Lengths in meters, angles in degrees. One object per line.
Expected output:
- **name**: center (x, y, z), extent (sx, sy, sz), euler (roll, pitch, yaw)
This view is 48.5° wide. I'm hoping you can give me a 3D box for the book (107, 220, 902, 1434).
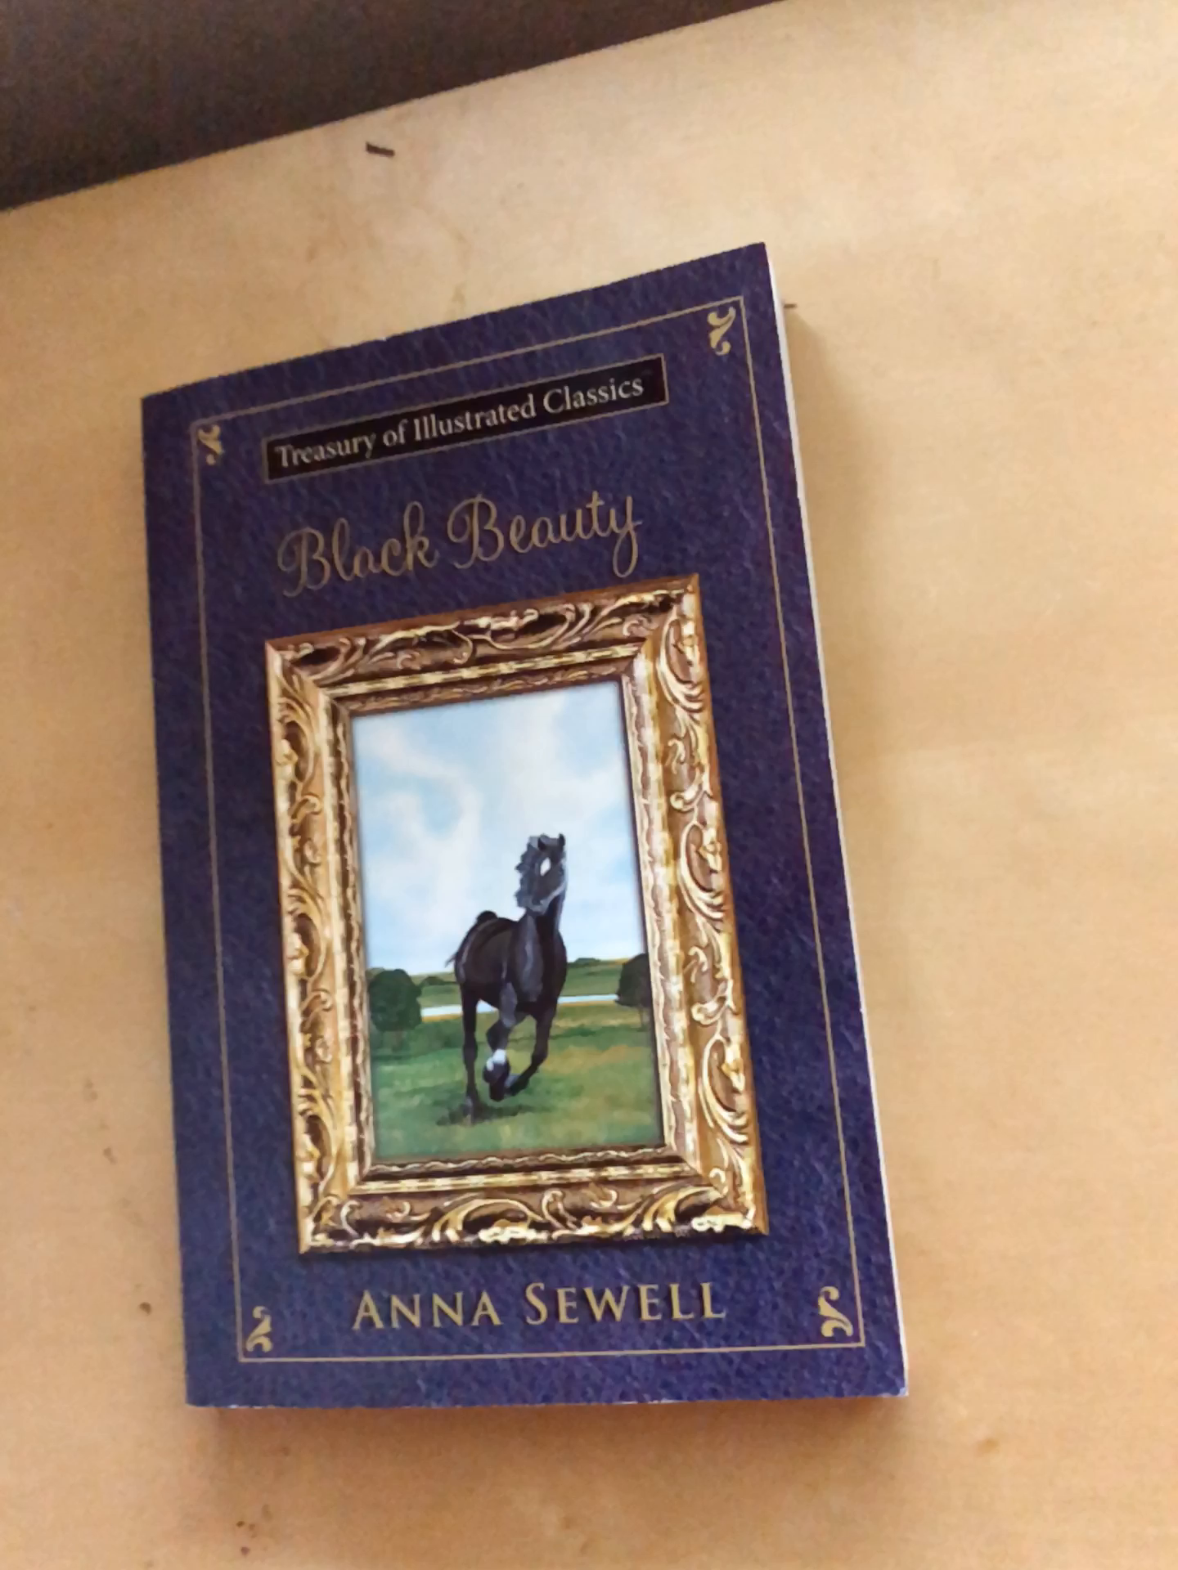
- **book**: center (-0.020, 0.010, 0.235), extent (0.126, 0.025, 0.193), euler (-7, 83, 16)
